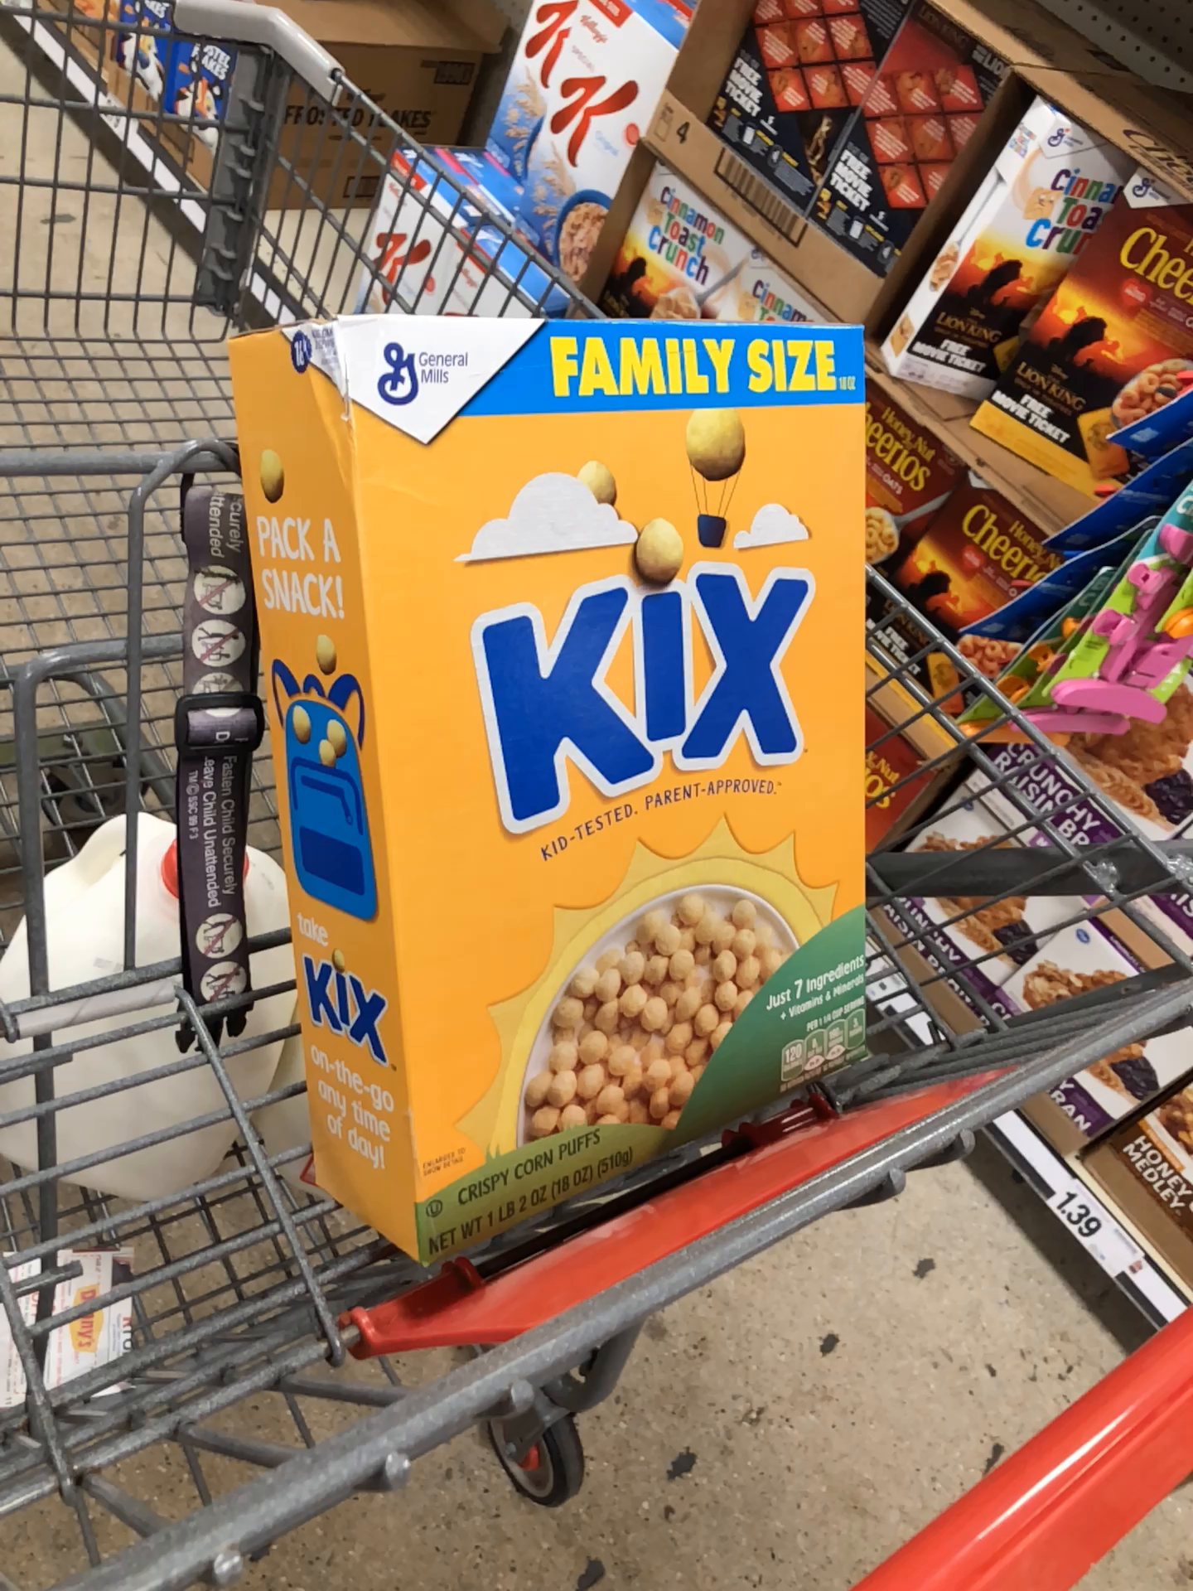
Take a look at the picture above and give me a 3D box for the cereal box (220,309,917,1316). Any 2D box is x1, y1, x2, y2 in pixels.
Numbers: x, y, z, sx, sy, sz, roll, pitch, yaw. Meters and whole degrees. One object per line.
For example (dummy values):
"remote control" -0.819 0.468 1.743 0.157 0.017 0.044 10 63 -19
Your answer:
"cereal box" 0.011 -0.011 0.508 0.261 0.320 0.070 -14 19 -37
